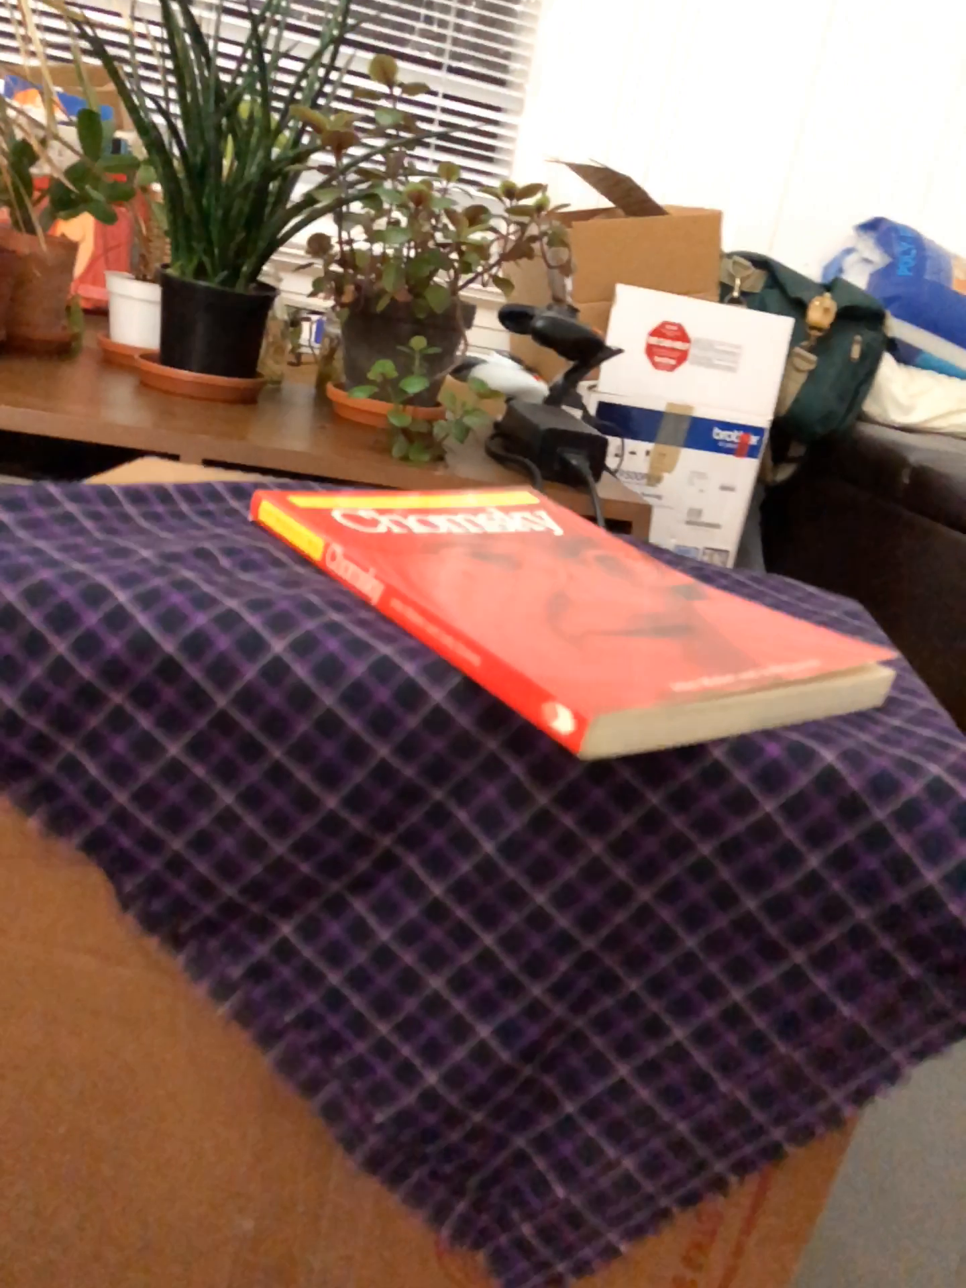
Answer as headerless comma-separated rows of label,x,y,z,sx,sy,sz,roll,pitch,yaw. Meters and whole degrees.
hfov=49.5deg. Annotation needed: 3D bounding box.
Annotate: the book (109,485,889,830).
book,-0.006,-0.015,0.388,0.180,0.020,0.240,-5,25,-38
